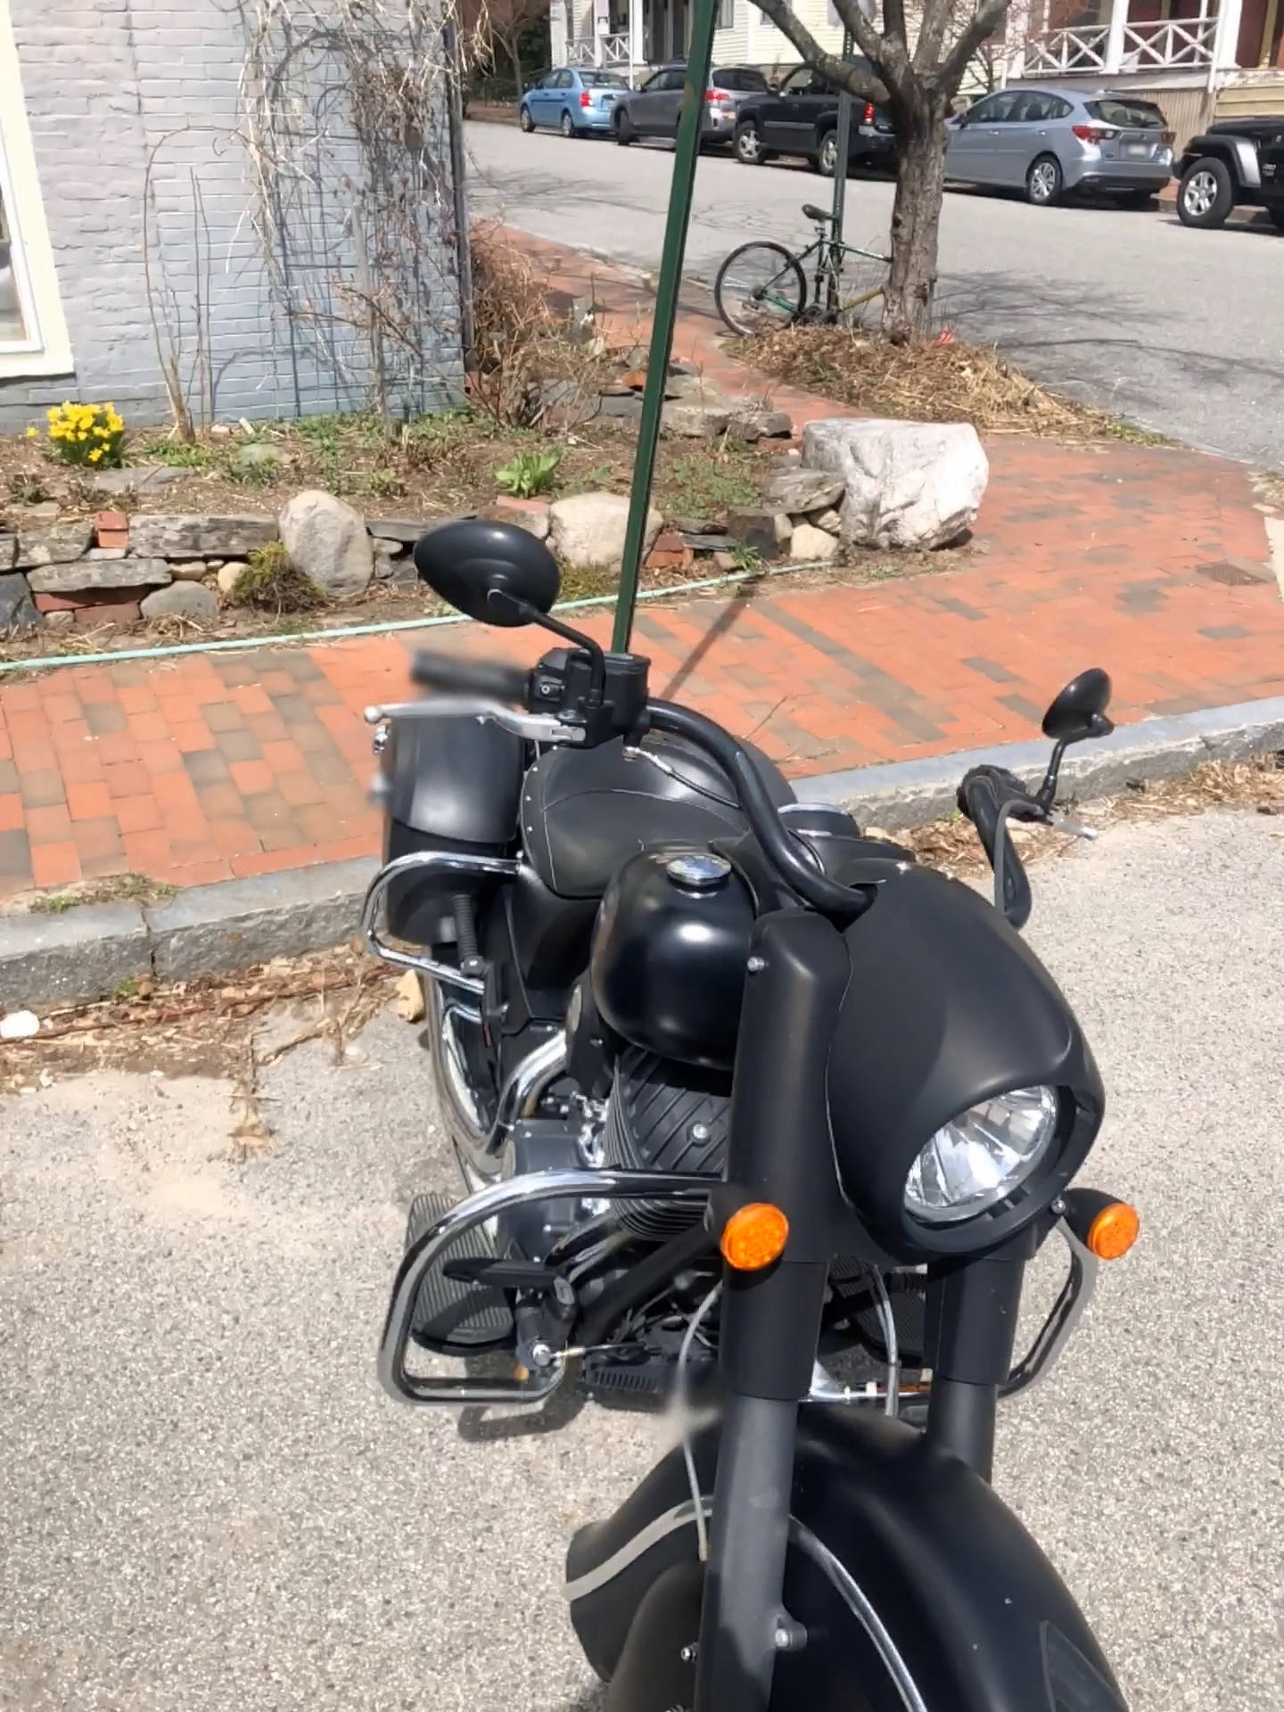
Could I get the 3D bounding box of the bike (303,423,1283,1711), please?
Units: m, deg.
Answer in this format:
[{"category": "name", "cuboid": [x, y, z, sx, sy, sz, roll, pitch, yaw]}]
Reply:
[{"category": "bike", "cuboid": [0.062, 0.265, 1.830, 0.780, 1.238, 2.138, -7, 27, -12]}]
